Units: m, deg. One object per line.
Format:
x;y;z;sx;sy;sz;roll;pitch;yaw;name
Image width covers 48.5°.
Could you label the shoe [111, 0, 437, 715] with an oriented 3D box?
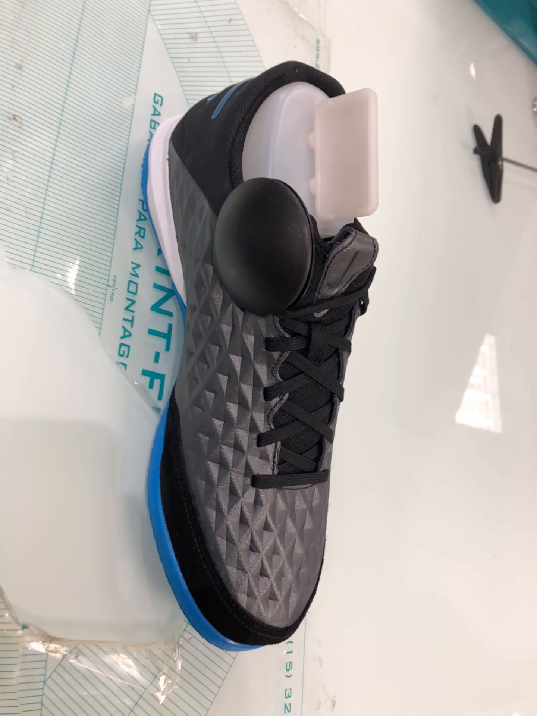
-0.007;-0.011;0.294;0.101;0.099;0.290;6;75;-39;shoe
